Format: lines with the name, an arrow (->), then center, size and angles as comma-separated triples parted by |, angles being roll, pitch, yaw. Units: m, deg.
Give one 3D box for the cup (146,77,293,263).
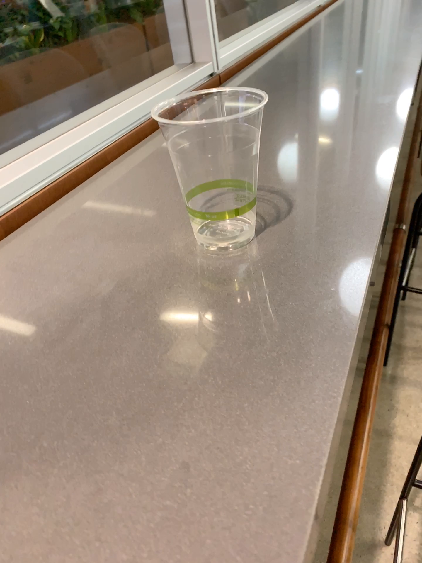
cup -> 0.007, -0.107, 0.404 | 0.100, 0.119, 0.111 | -13, 36, -5
